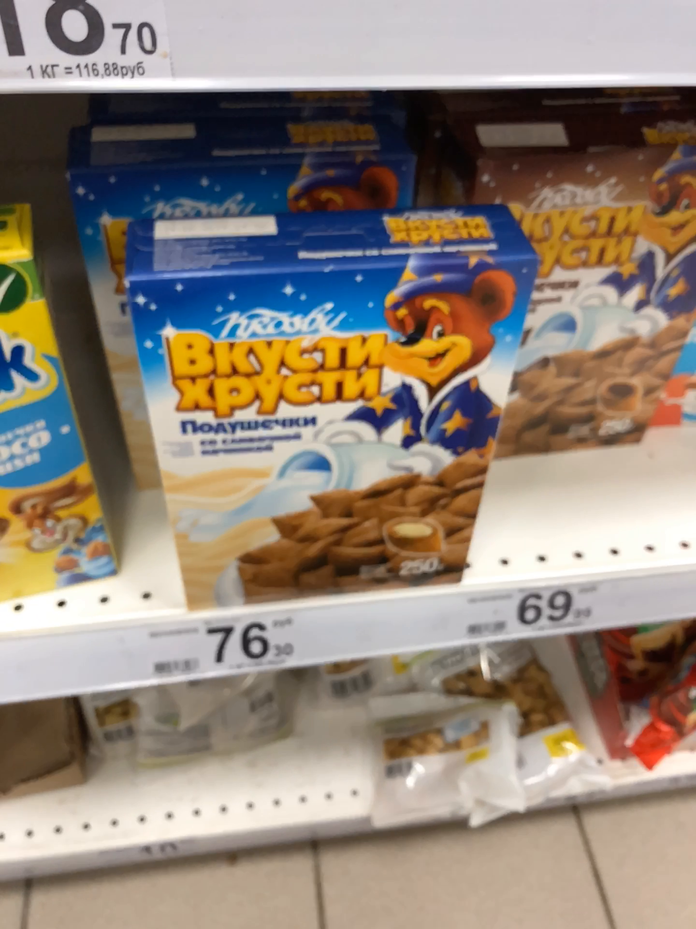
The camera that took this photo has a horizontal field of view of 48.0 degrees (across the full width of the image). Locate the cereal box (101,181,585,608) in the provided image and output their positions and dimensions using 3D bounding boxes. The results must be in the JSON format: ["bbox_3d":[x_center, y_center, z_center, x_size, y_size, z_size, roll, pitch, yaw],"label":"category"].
[{"bbox_3d":[-0.007,-0.022,0.402,0.190,0.229,0.050,-5,46,-8],"label":"cereal box"}]
